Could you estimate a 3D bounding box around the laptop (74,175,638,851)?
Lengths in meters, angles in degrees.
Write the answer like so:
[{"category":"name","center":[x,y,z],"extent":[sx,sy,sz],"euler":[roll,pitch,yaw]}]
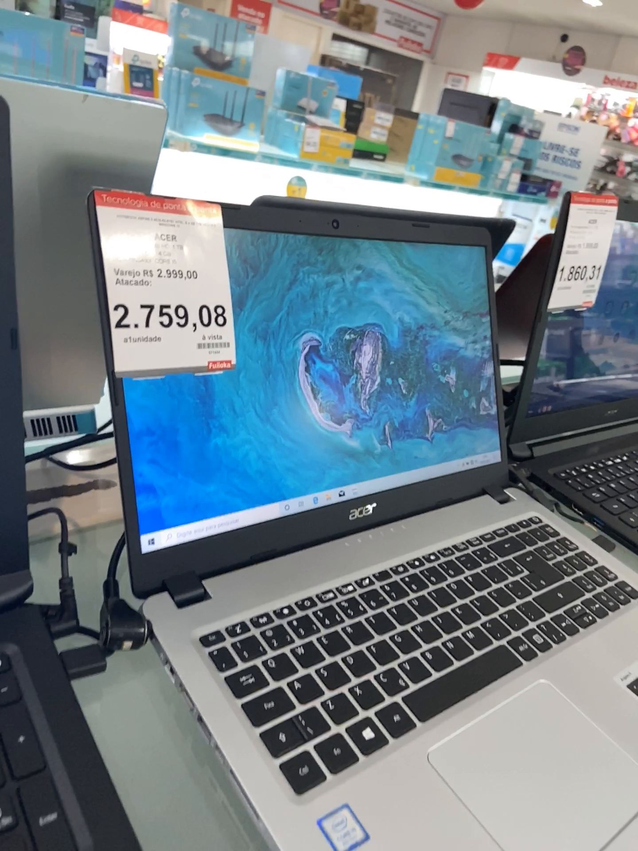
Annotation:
[{"category":"laptop","center":[0.092,0.016,0.398],"extent":[0.351,0.198,0.363],"euler":[-8,35,-37]}]
